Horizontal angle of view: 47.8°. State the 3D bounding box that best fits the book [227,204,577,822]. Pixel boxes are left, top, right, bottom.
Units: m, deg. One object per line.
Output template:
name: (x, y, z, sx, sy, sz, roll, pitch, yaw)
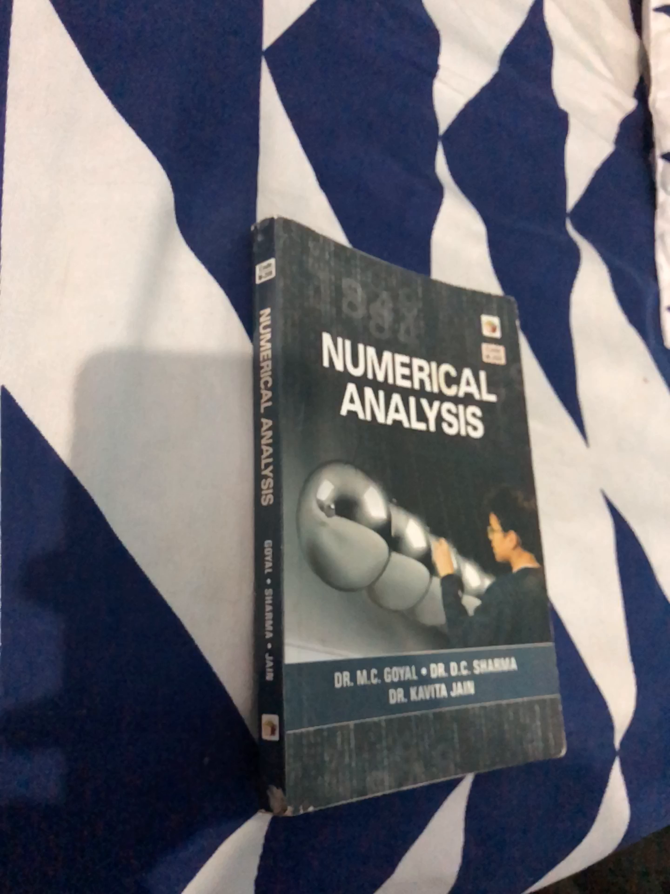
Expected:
book: (0.029, 0.023, 0.286, 0.141, 0.030, 0.190, 8, 75, -37)
